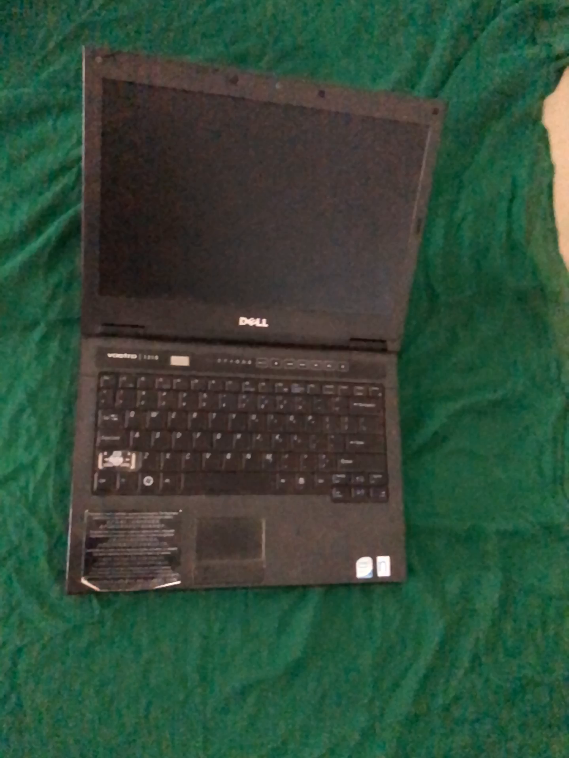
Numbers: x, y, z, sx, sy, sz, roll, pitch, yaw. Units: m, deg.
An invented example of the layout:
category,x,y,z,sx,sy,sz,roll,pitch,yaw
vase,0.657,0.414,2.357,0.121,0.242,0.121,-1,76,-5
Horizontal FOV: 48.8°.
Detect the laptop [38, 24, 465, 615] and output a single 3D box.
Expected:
category,x,y,z,sx,sy,sz,roll,pitch,yaw
laptop,-0.020,-0.039,0.545,0.313,0.127,0.438,3,82,-11
